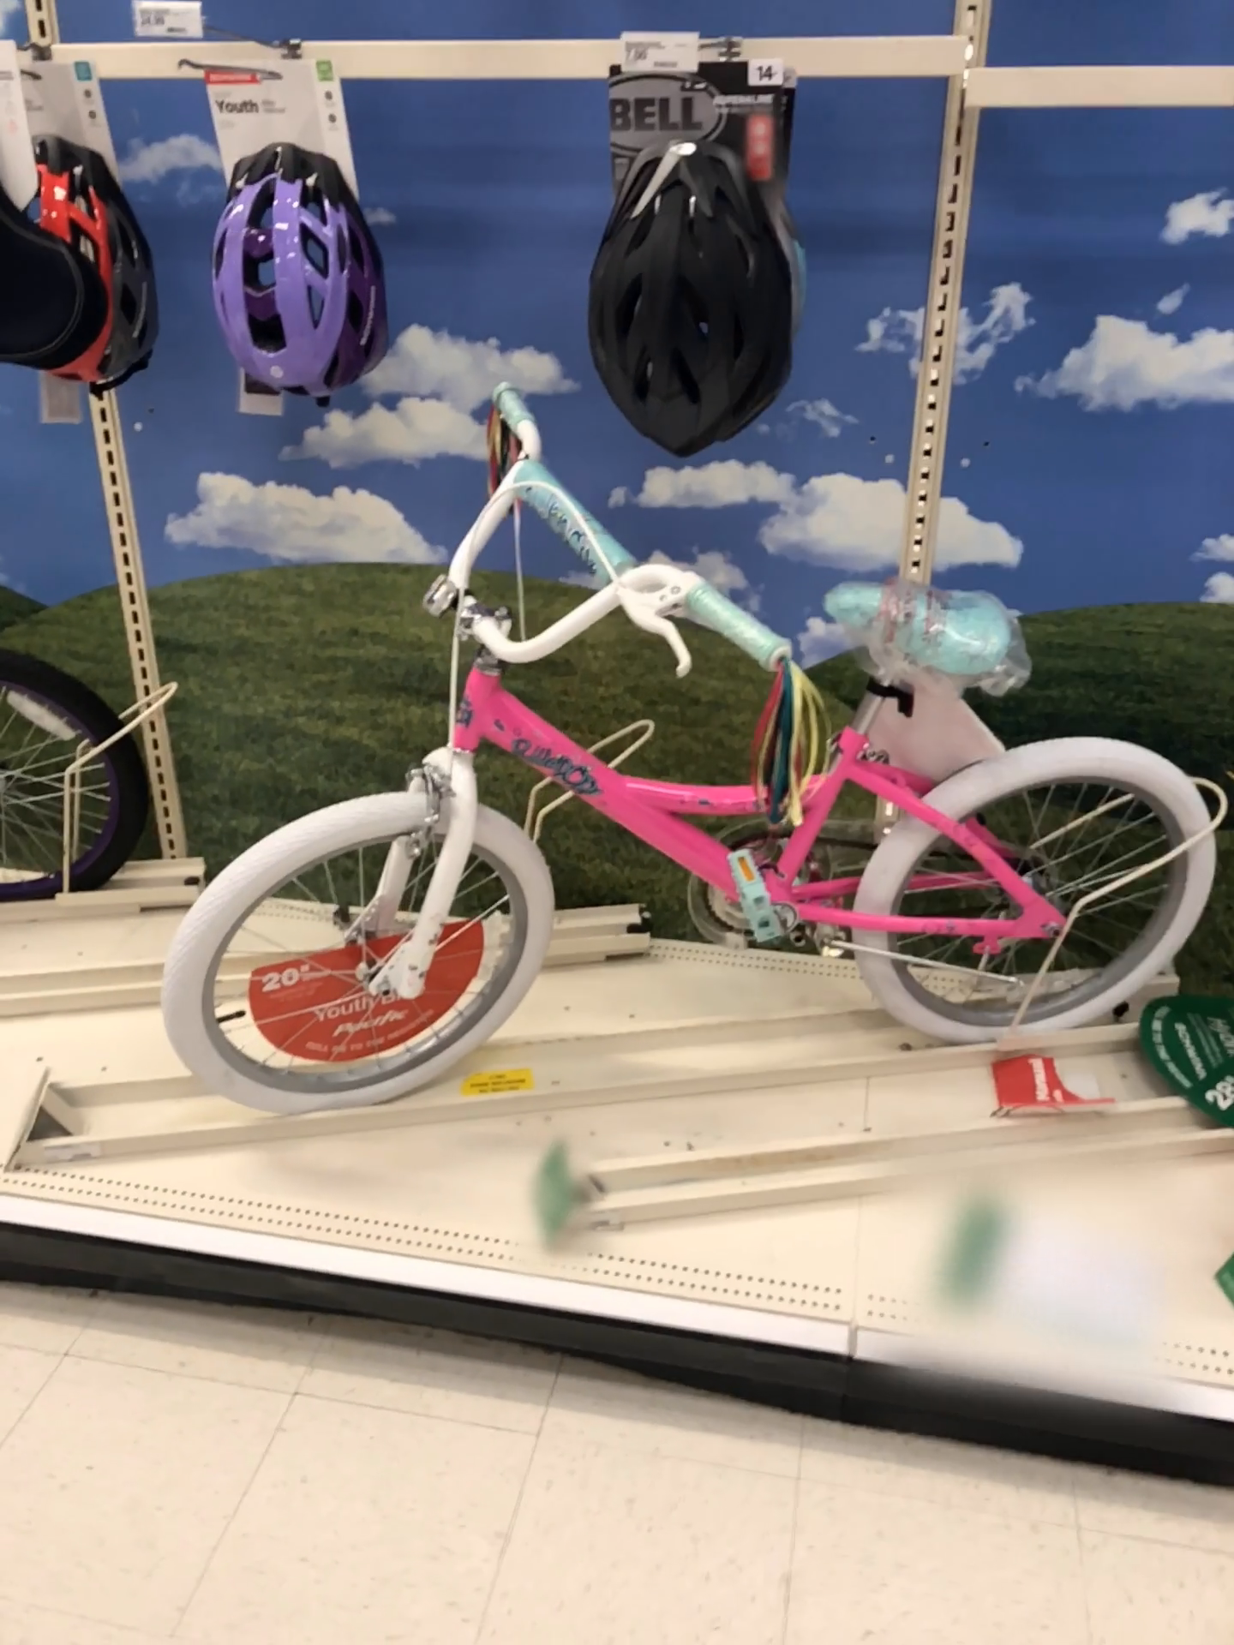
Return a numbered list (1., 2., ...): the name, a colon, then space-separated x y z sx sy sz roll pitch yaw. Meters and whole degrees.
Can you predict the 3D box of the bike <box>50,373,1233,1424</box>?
1. bike: 0.137 0.009 1.669 1.346 0.882 0.730 -6 26 -8
